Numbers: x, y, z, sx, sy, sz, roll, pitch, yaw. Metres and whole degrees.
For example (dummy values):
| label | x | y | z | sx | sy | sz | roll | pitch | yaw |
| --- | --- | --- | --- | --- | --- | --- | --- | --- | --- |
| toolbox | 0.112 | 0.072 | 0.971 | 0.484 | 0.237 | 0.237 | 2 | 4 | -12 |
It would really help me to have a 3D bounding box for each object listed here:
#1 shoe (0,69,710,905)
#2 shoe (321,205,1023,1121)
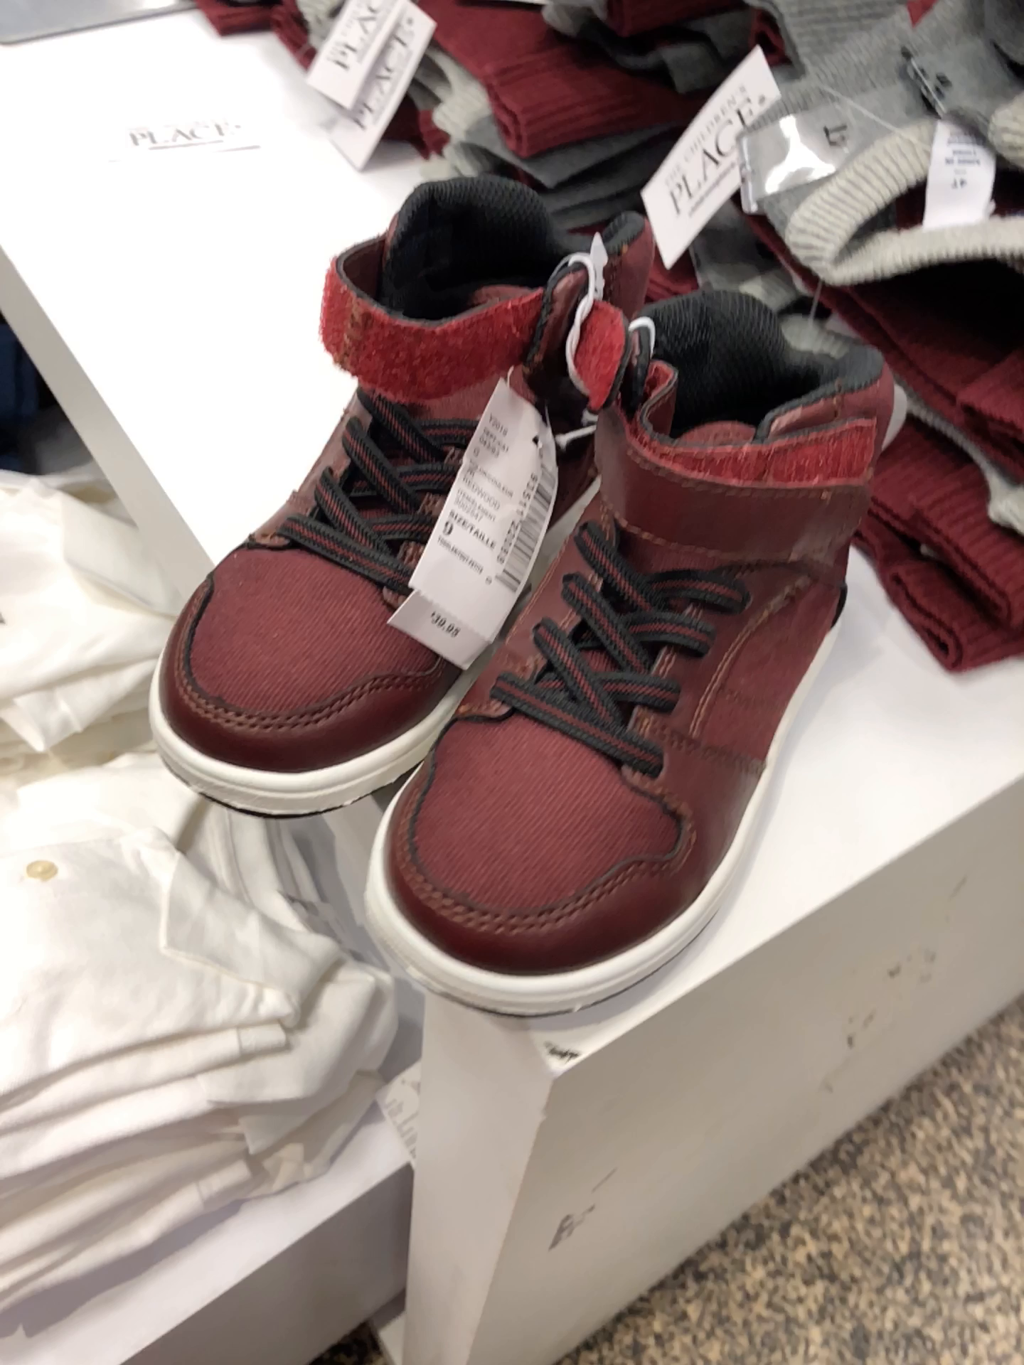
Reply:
| label | x | y | z | sx | sy | sz | roll | pitch | yaw |
| --- | --- | --- | --- | --- | --- | --- | --- | --- | --- |
| shoe | -0.029 | -0.051 | 0.261 | 0.070 | 0.100 | 0.160 | 27 | 53 | 14 |
| shoe | 0.043 | -0.014 | 0.266 | 0.080 | 0.100 | 0.180 | 27 | 53 | 14 |
